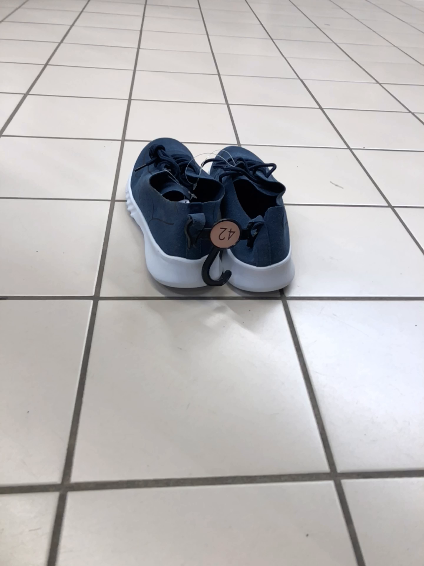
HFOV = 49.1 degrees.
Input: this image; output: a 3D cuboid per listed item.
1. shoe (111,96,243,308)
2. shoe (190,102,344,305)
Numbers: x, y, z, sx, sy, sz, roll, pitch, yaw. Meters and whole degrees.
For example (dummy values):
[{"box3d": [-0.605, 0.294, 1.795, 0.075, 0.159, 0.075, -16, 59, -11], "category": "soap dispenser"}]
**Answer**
[{"box3d": [-0.057, -0.117, 0.565, 0.100, 0.119, 0.291, -6, 40, -13], "category": "shoe"}, {"box3d": [0.045, -0.115, 0.568, 0.100, 0.109, 0.292, -3, 40, -10], "category": "shoe"}]
